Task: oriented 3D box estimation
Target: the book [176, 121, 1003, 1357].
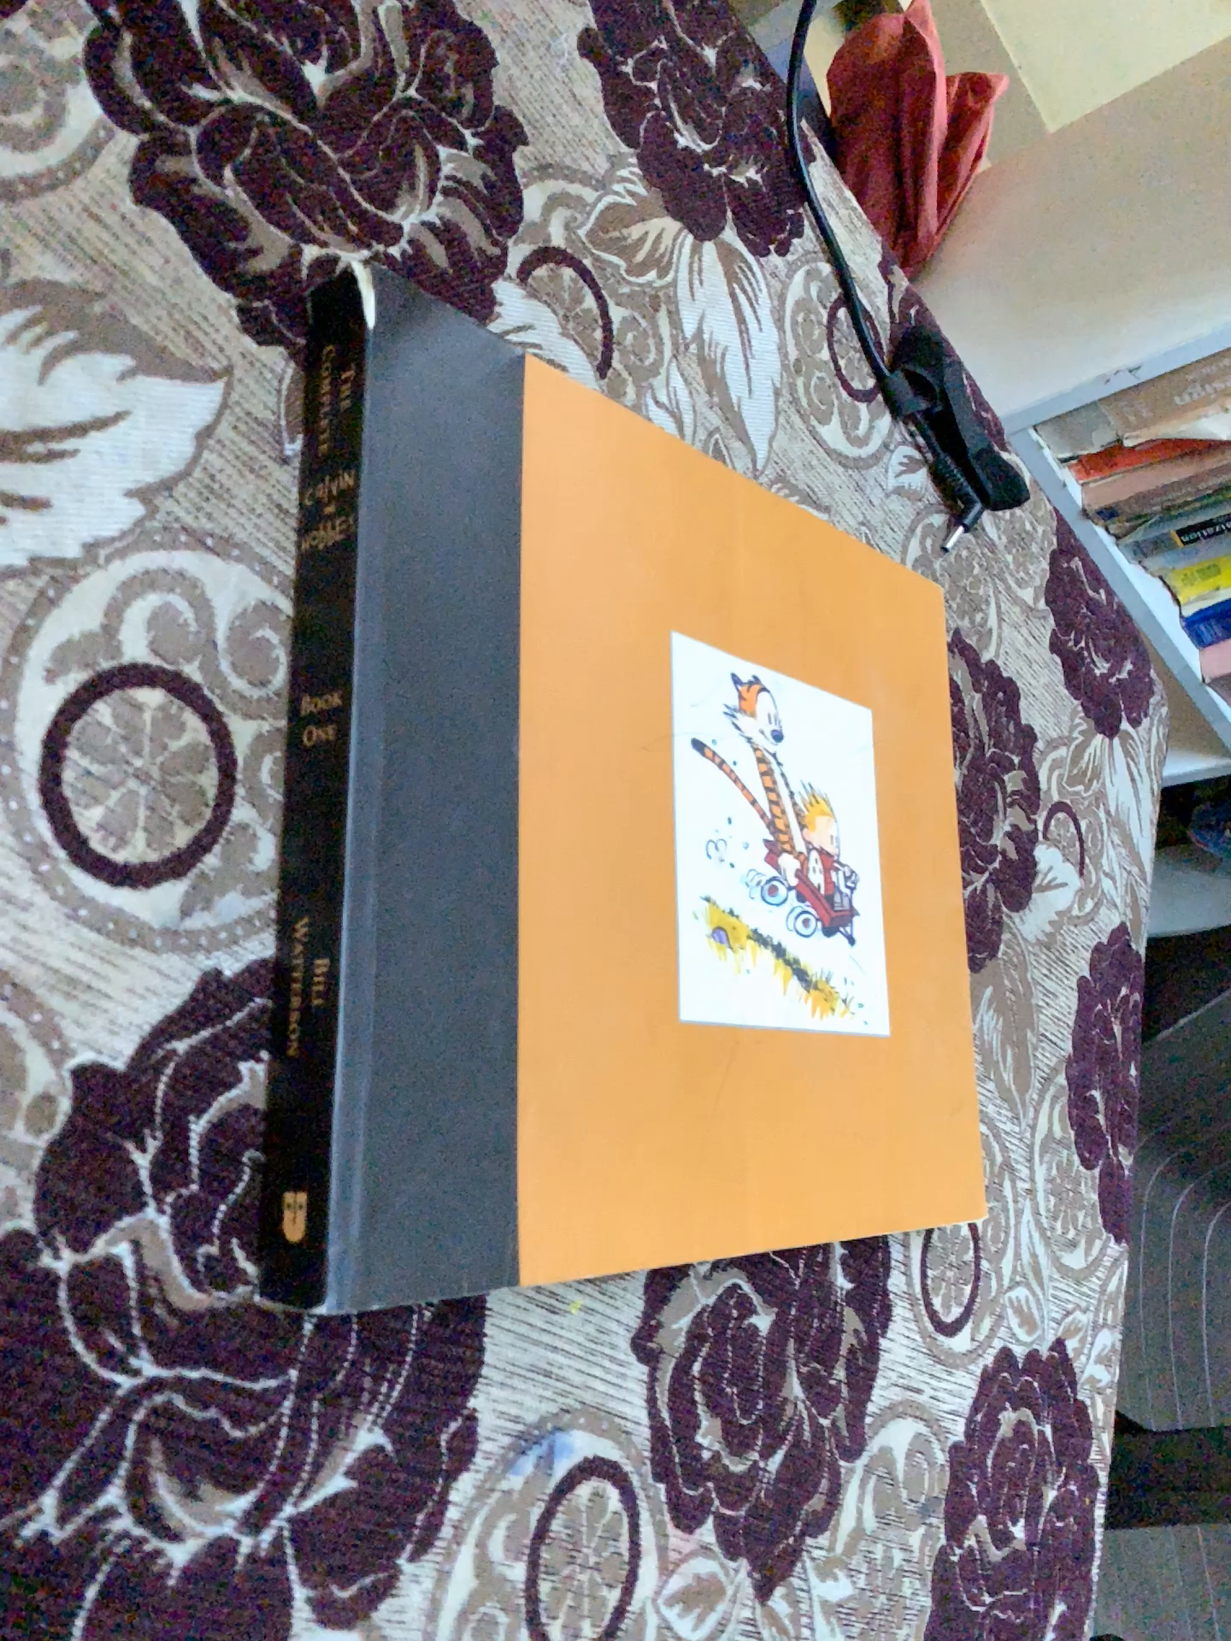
[{"bbox_3d":[0.016,-0.008,0.364,0.271,0.040,0.260,12,71,-45],"label":"book"}]
